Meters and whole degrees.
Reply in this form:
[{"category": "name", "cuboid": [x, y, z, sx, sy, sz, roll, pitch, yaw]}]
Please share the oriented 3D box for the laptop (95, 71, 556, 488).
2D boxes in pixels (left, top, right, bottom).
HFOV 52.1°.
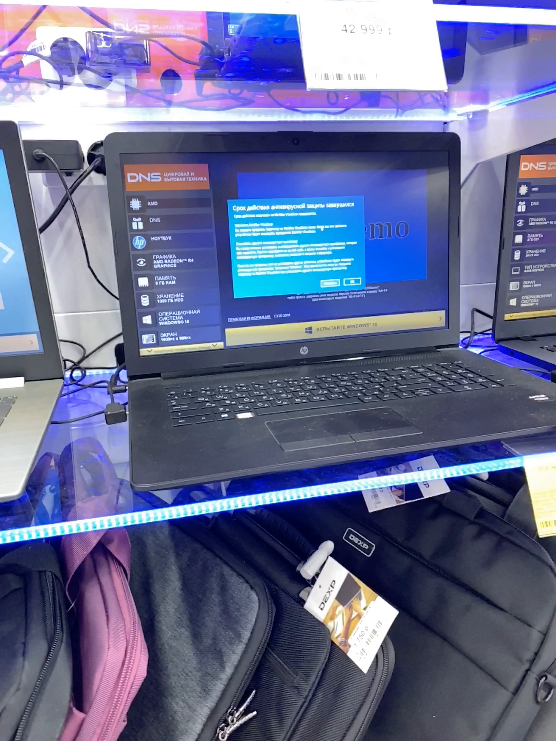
[{"category": "laptop", "cuboid": [0.062, -0.102, 0.548, 0.419, 0.260, 0.295, -5, 15, -15]}]
